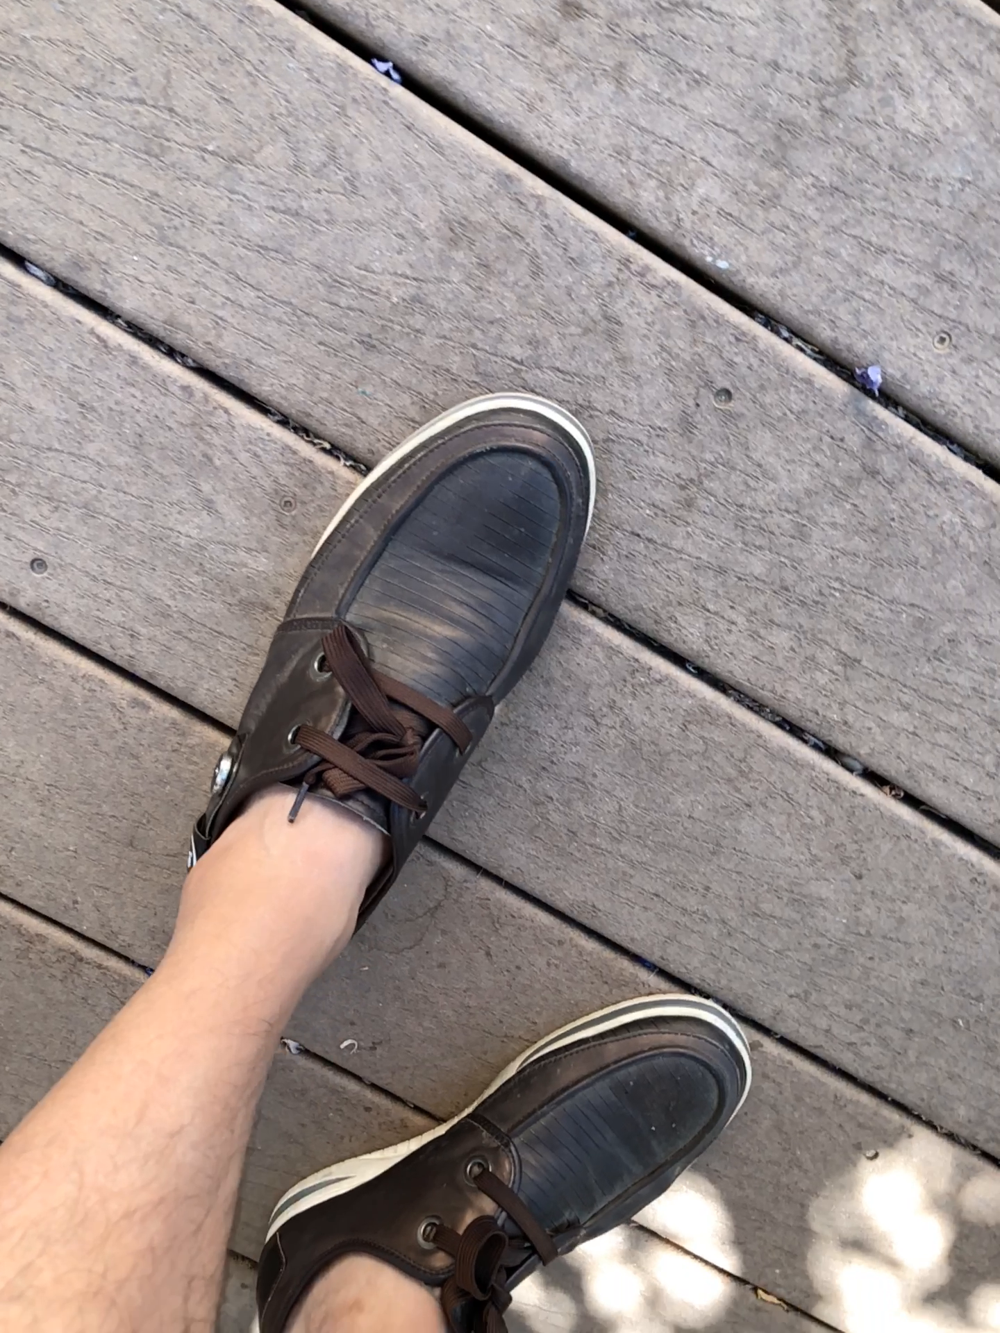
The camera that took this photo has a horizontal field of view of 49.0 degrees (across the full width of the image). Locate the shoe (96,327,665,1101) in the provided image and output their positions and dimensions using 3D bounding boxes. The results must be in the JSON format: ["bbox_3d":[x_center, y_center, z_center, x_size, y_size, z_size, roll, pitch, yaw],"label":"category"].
[{"bbox_3d":[-0.052,0.020,0.446,0.104,0.096,0.283,25,107,-7],"label":"shoe"}]

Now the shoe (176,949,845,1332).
[{"bbox_3d":[0.002,0.258,0.520,0.277,0.090,0.104,-29,105,10],"label":"shoe"}]
